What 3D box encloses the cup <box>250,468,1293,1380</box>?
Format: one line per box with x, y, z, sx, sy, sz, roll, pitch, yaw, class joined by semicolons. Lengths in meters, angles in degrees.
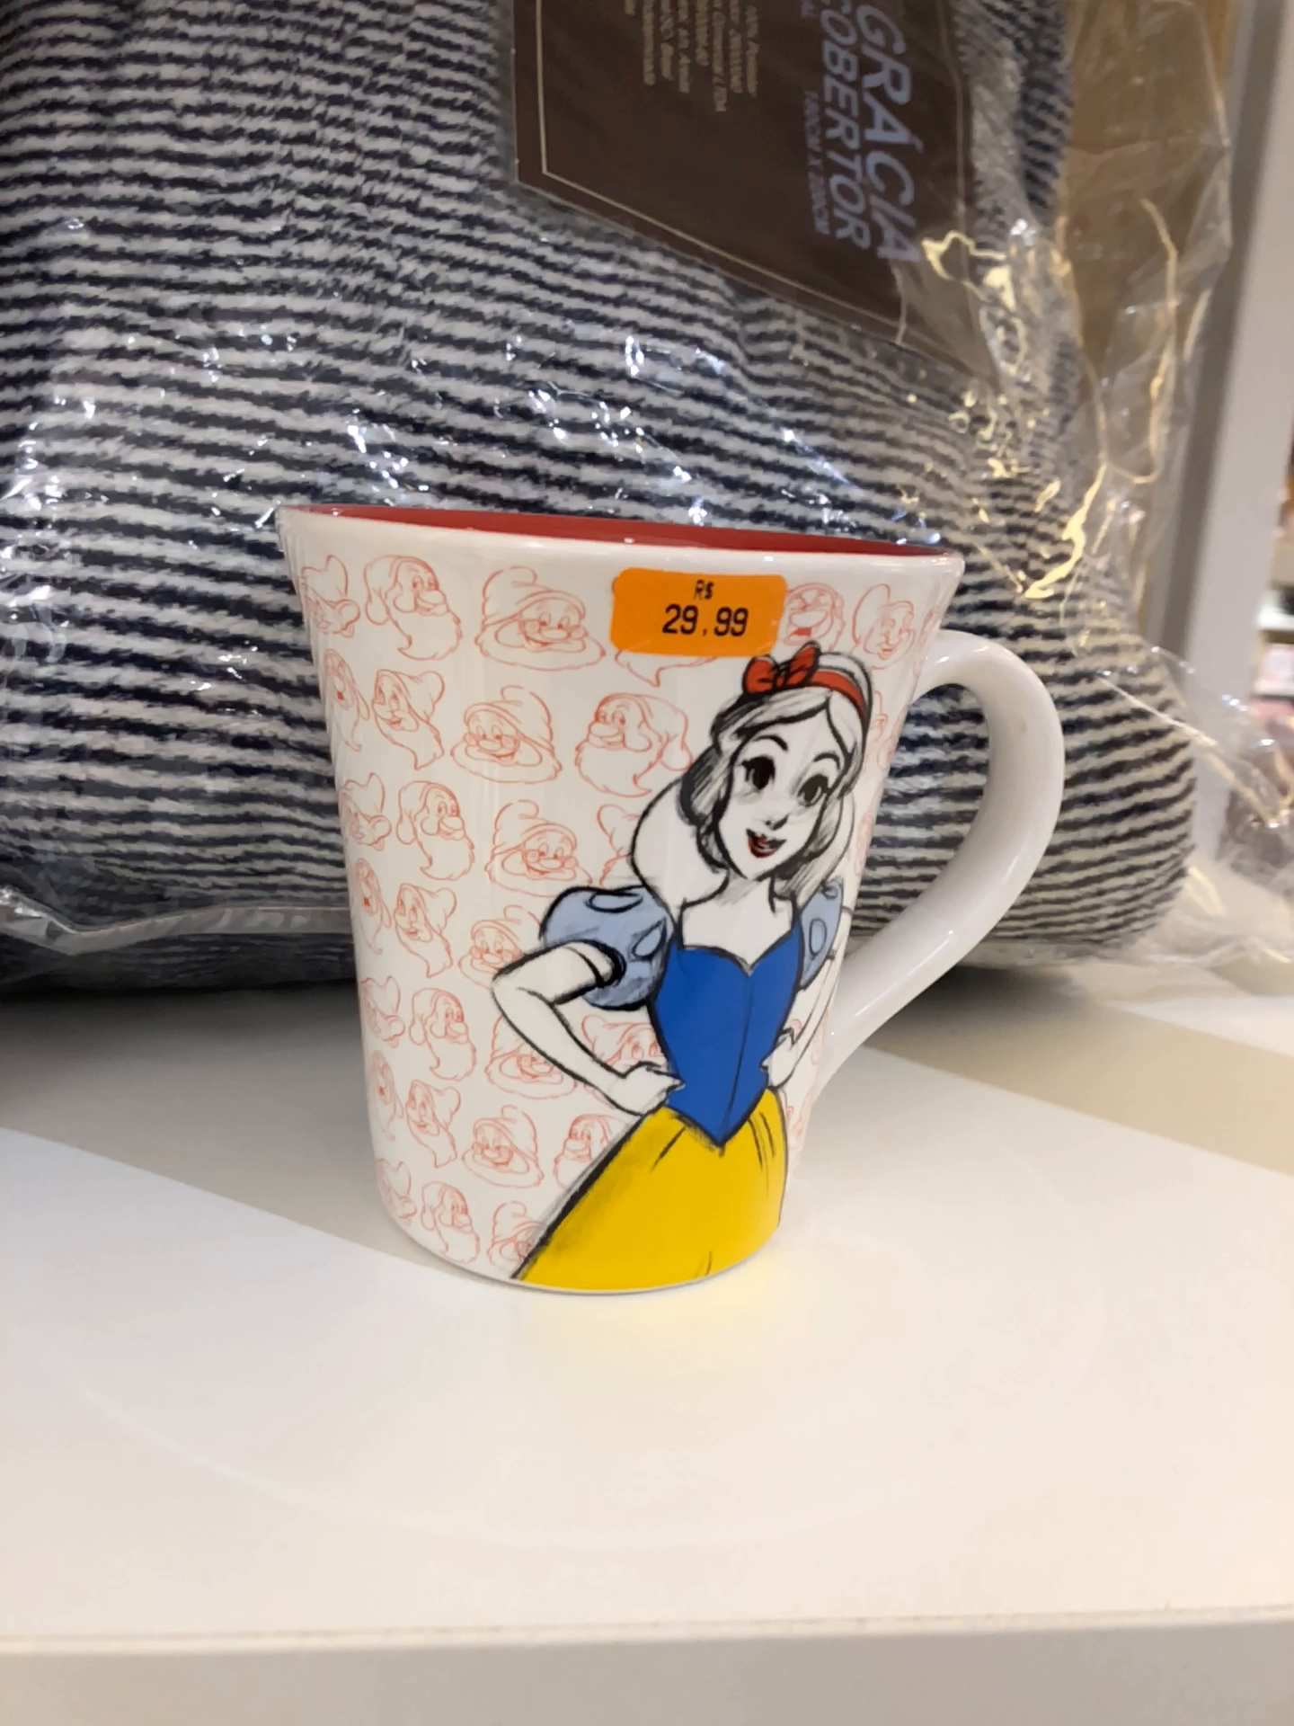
0.012;-0.004;0.203;0.120;0.090;0.090;-2;16;-23;cup

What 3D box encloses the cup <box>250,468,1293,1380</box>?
0.012;-0.004;0.203;0.120;0.090;0.090;-2;16;-23;cup
